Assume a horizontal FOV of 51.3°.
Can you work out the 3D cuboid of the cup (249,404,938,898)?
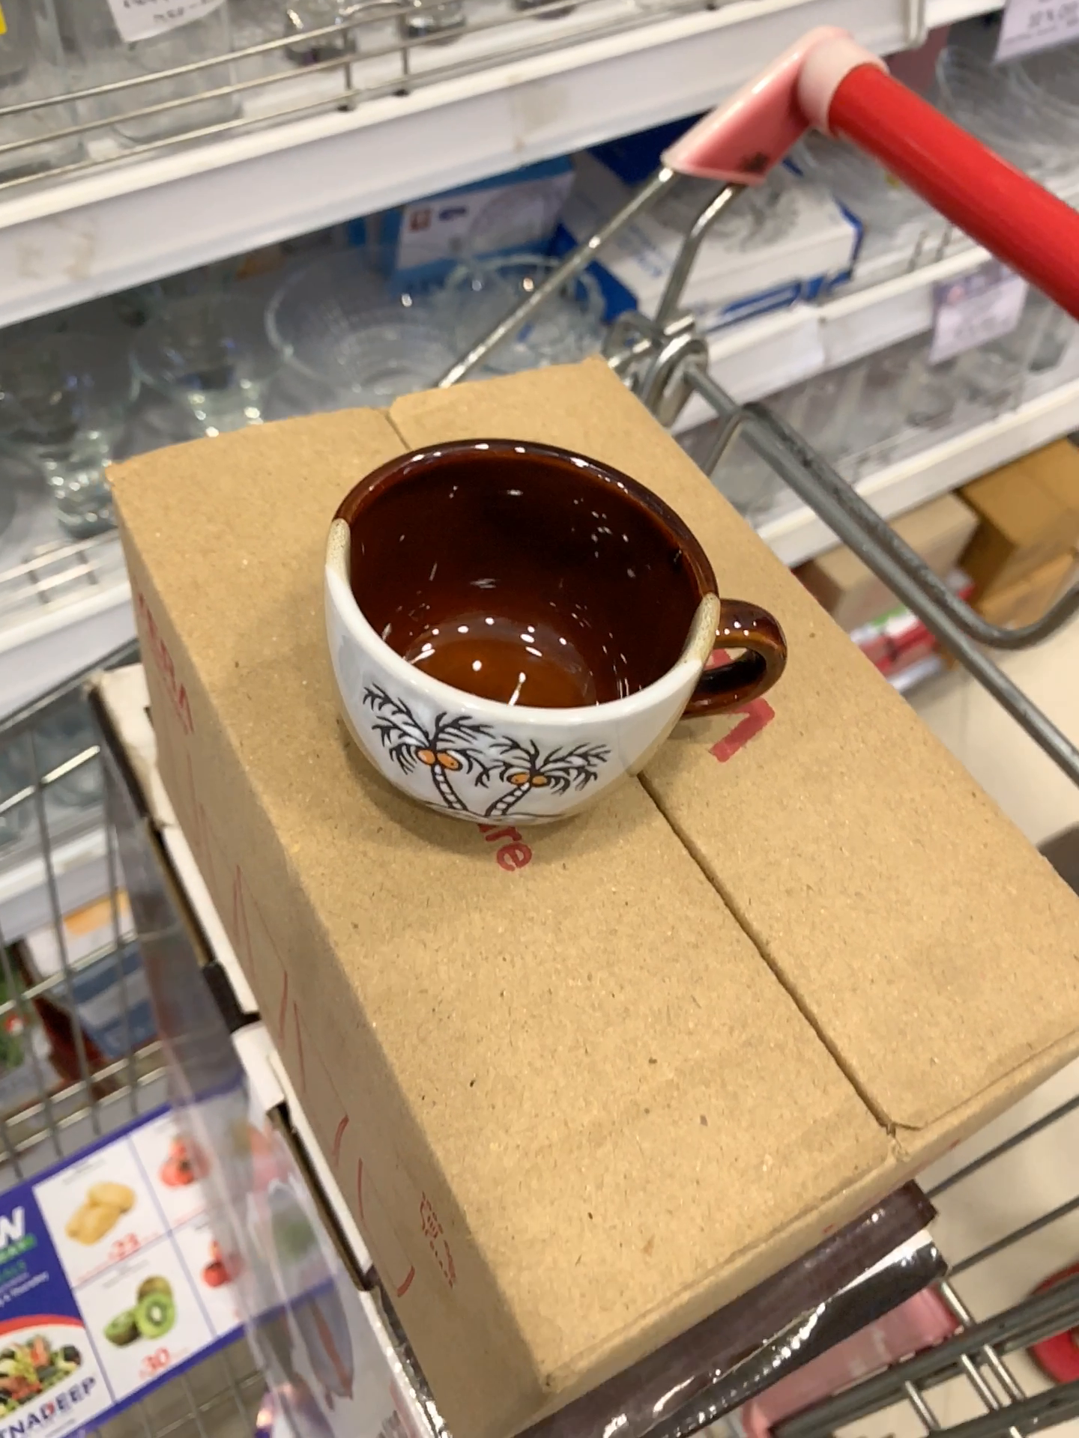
[{"bbox_3d":[0.003,-0.009,0.200,0.100,0.060,0.060,1,56,-10],"label":"cup"}]
